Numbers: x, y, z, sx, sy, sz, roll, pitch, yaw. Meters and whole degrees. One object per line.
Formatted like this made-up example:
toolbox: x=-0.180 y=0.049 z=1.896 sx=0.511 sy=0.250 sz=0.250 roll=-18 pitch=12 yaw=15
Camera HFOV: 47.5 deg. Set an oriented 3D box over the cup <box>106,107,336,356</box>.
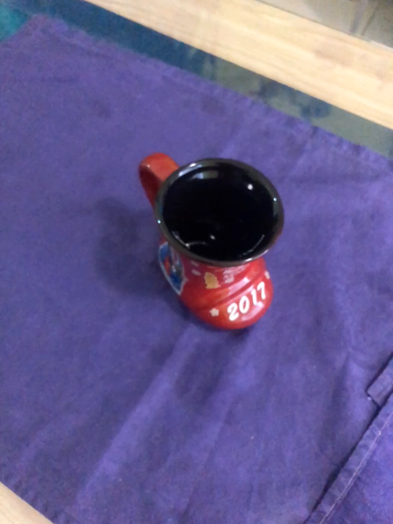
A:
cup: x=0.010 y=-0.018 z=0.295 sx=0.070 sy=0.090 sz=0.120 roll=-36 pitch=69 yaw=-19
